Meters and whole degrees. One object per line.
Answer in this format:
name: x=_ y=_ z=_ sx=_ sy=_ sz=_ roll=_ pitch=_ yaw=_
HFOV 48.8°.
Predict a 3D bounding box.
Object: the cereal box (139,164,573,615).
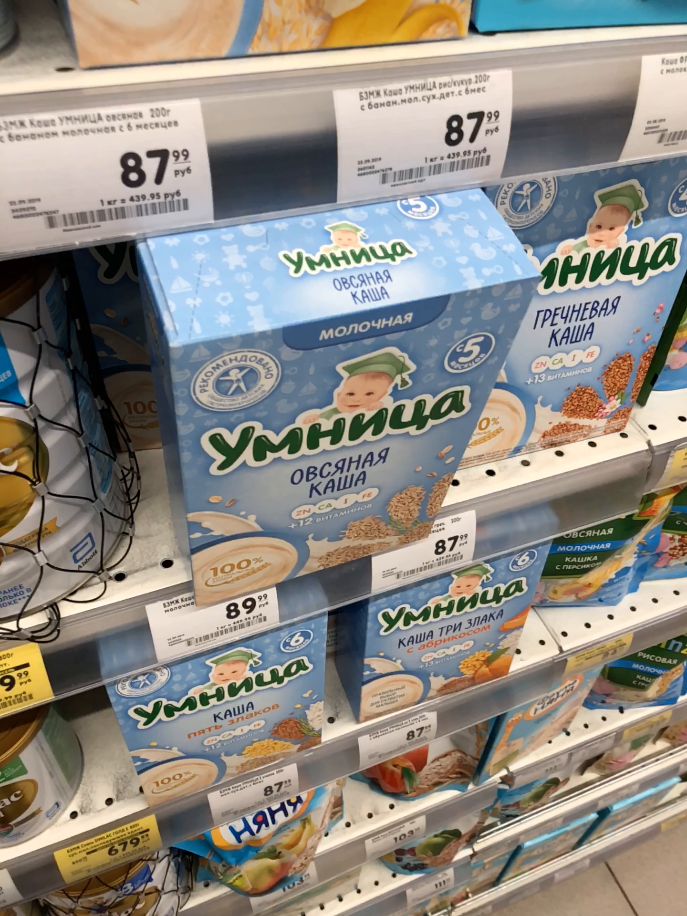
cereal box: x=-0.007 y=-0.017 z=0.348 sx=0.140 sy=0.209 sz=0.060 roll=-13 pitch=58 yaw=-17
